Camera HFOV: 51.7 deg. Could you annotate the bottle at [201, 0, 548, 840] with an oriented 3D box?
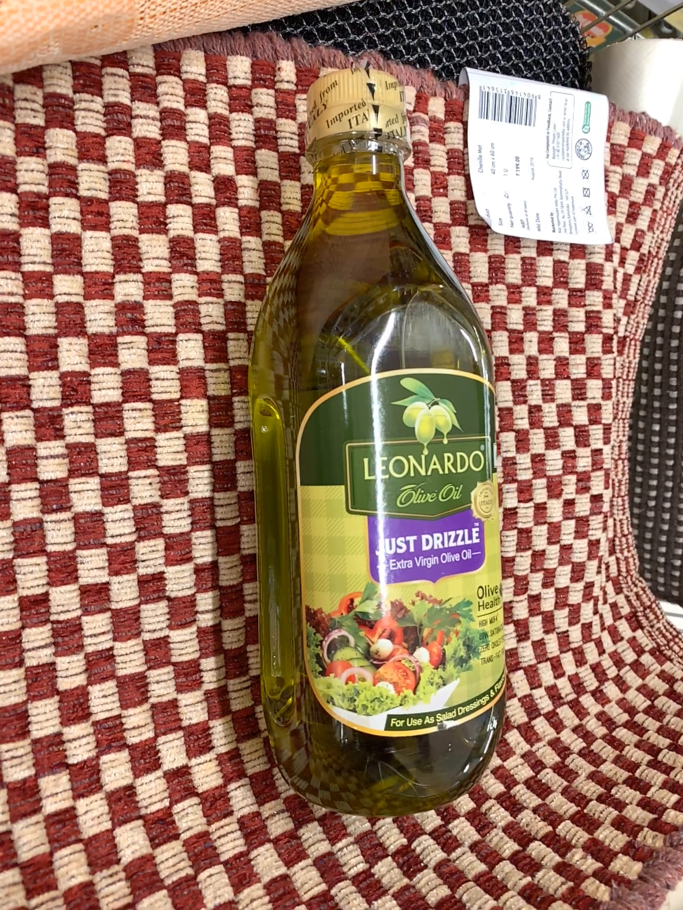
[{"bbox_3d":[0.011,-0.021,0.233,0.080,0.070,0.240,-3,91,-38],"label":"bottle"}]
